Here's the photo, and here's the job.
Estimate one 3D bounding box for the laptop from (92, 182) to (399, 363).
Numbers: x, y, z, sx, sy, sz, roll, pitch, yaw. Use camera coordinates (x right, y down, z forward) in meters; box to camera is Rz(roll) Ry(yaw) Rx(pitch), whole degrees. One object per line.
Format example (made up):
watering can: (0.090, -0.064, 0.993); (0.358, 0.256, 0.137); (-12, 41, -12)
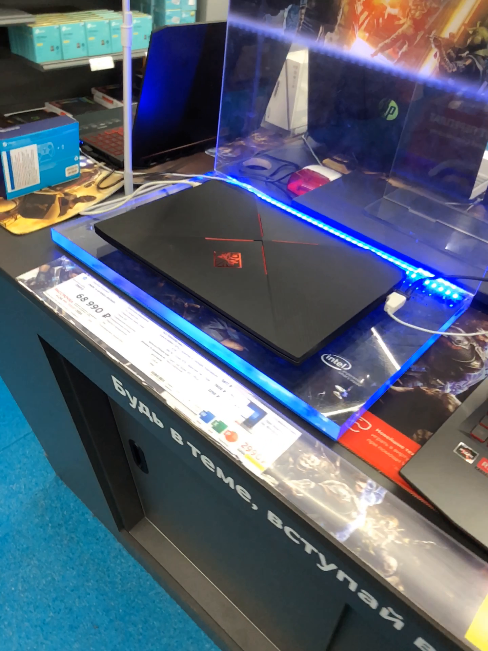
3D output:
laptop: (-0.002, -0.097, 0.717); (0.350, 0.003, 0.237); (33, 46, 29)
